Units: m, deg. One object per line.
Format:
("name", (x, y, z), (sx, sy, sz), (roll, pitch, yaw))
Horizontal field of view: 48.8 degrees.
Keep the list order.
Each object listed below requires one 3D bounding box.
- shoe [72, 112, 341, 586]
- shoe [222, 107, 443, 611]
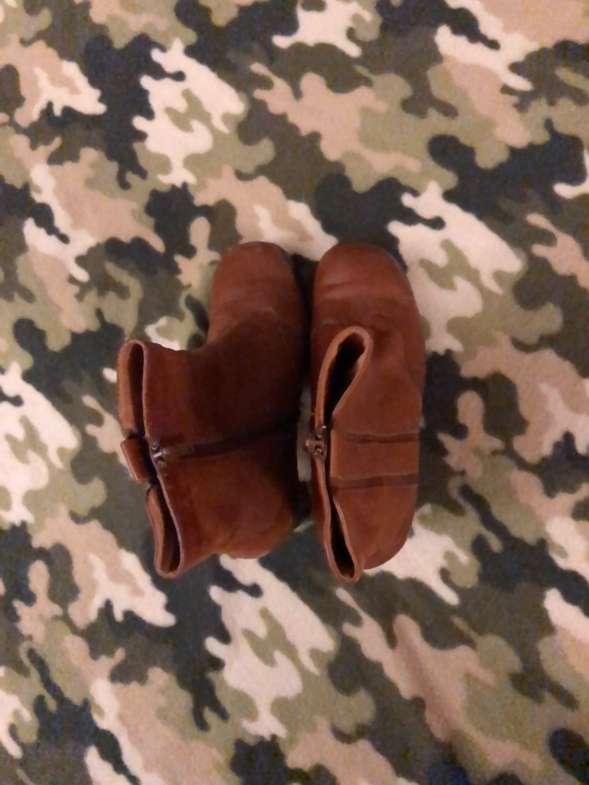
("shoe", (-0.041, -0.011, 0.401), (0.090, 0.190, 0.220), (-6, 81, 13))
("shoe", (0.033, -0.006, 0.381), (0.090, 0.190, 0.220), (-3, 82, 13))
